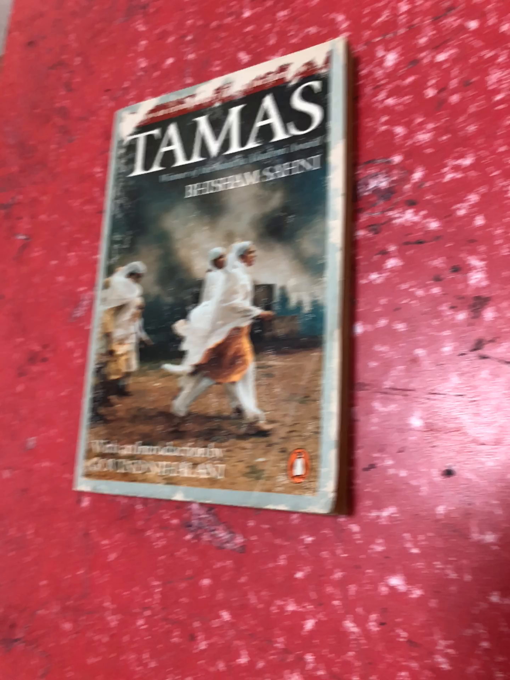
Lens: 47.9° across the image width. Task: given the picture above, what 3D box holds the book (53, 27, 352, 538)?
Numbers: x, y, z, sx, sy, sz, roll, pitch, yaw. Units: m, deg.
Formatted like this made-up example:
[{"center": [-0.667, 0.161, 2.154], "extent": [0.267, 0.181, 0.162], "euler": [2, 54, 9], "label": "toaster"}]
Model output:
[{"center": [-0.024, -0.025, 0.254], "extent": [0.130, 0.020, 0.200], "euler": [-4, 75, 29], "label": "book"}]
